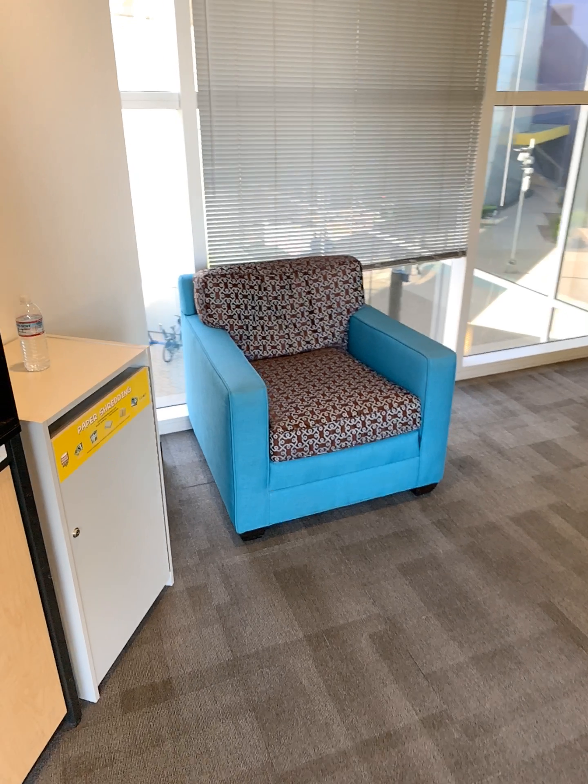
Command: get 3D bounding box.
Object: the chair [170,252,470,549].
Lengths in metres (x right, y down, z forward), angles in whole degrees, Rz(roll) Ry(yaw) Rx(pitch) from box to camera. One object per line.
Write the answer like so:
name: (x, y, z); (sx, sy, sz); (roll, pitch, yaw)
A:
chair: (0.046, -0.055, 2.585); (0.910, 0.825, 0.925); (-10, 27, -19)
